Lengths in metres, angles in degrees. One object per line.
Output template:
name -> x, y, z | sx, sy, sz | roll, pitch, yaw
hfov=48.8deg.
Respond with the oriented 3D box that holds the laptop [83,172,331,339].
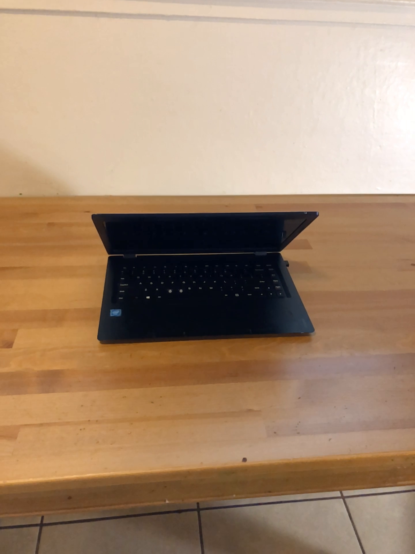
laptop -> -0.009, -0.044, 0.714 | 0.317, 0.161, 0.217 | -1, 36, -6
